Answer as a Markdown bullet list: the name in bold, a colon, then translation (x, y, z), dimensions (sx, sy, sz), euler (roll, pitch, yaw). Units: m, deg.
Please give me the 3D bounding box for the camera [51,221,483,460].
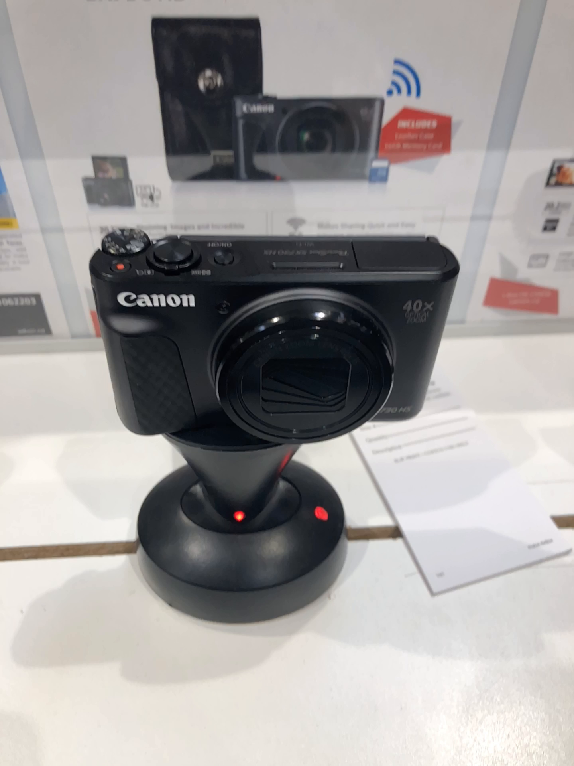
- **camera**: translation (-0.007, -0.013, 0.217), dimensions (0.120, 0.070, 0.040), euler (-1, 44, -4)
